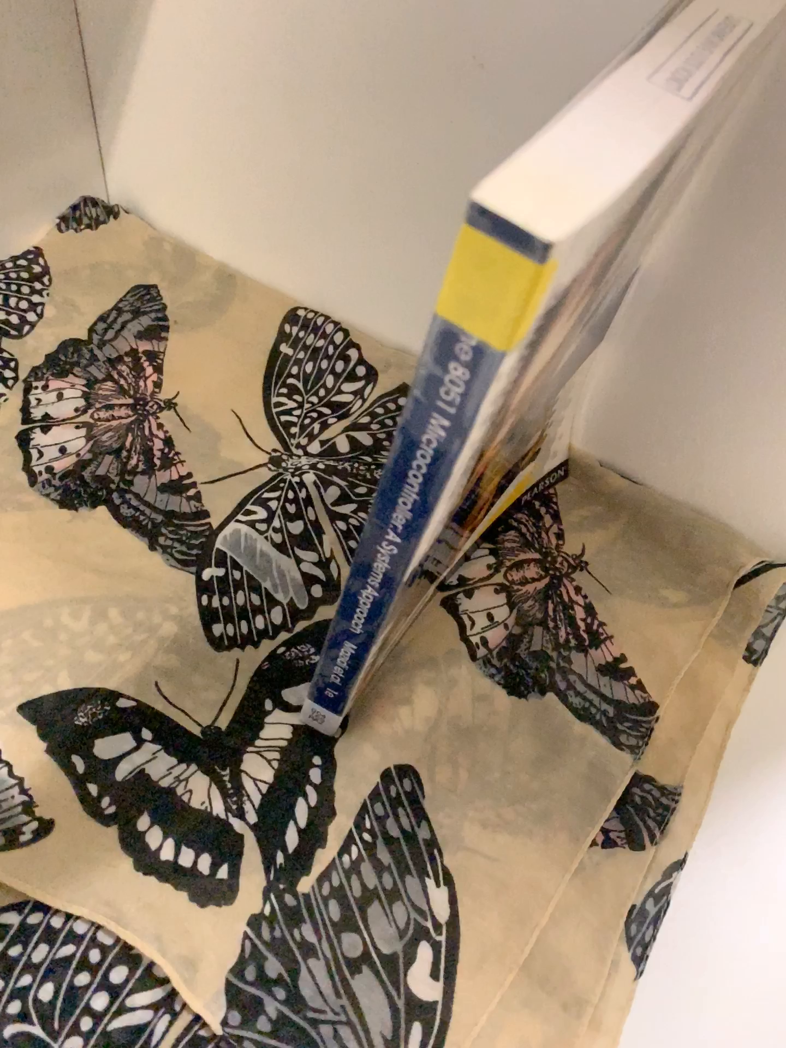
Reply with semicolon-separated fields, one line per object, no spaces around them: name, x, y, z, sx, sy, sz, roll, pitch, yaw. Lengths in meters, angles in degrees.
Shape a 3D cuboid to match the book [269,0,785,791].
book;0.053;-0.045;0.290;0.053;0.249;0.221;32;55;8
